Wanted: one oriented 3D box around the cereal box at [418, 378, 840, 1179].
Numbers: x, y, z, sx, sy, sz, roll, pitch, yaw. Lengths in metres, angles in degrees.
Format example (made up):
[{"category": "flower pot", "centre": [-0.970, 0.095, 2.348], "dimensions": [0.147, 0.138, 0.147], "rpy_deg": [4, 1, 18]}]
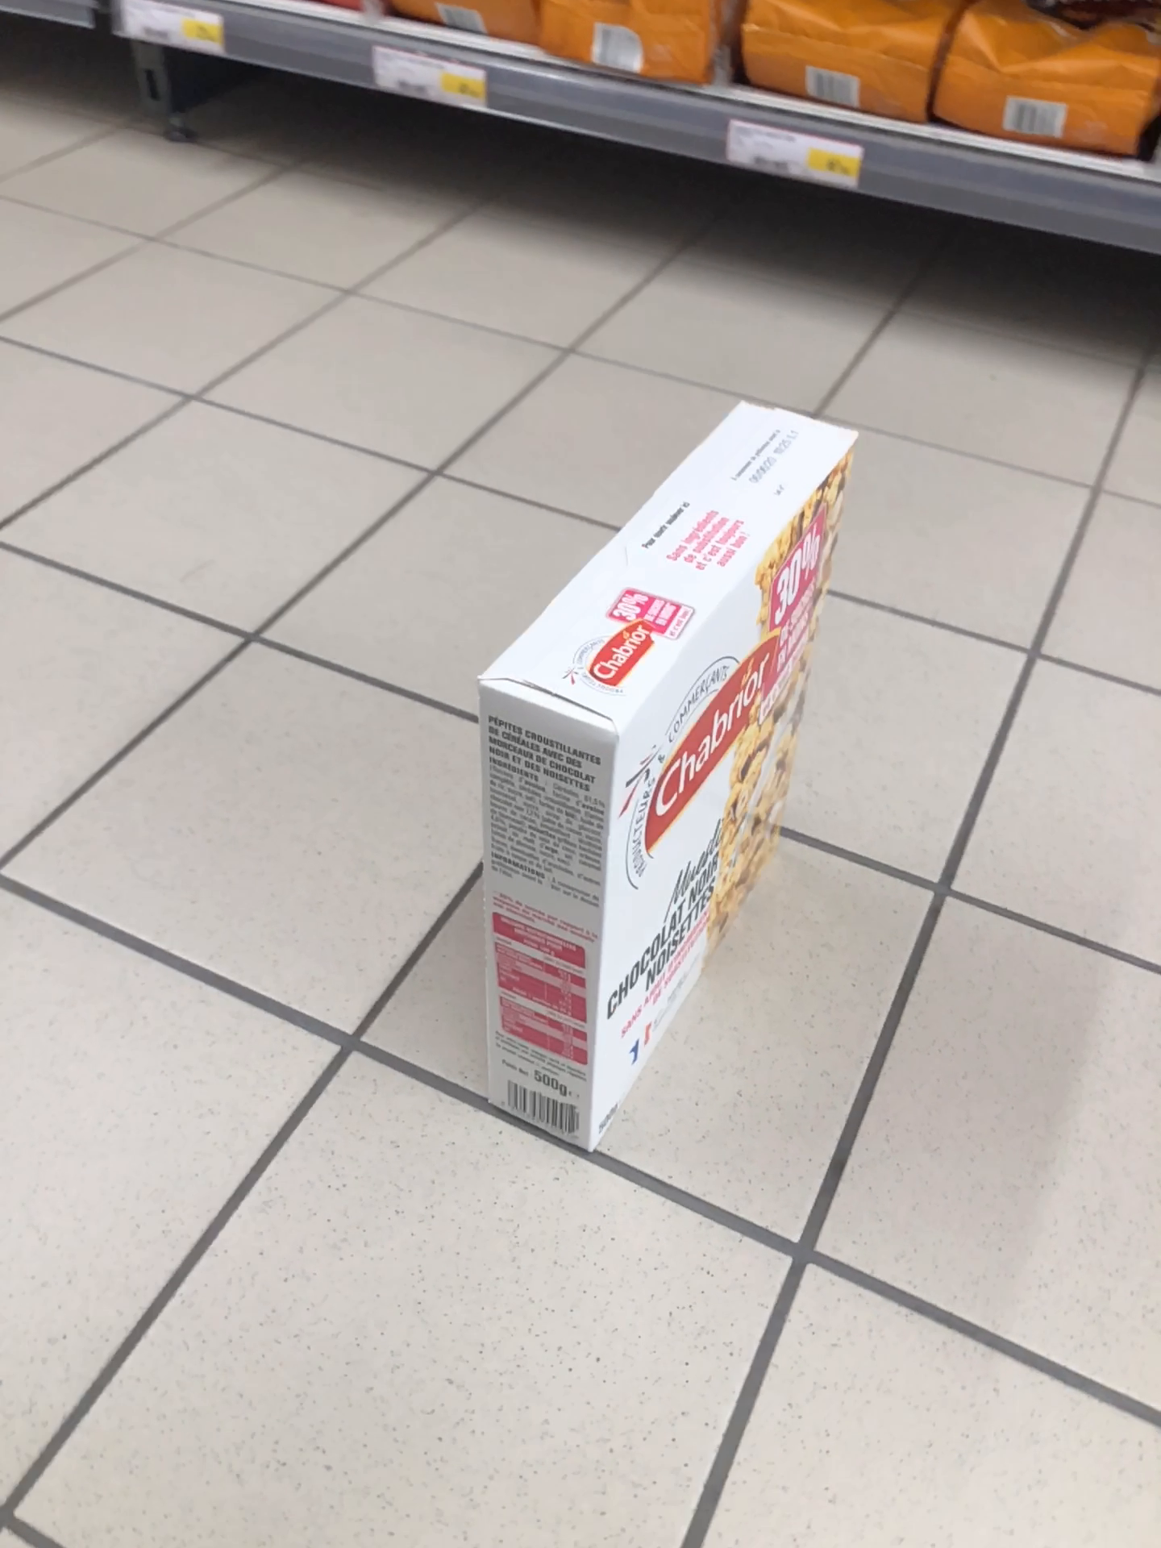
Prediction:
[{"category": "cereal box", "centre": [0.022, 0.005, 0.495], "dimensions": [0.050, 0.239, 0.201], "rpy_deg": [22, 47, 19]}]
